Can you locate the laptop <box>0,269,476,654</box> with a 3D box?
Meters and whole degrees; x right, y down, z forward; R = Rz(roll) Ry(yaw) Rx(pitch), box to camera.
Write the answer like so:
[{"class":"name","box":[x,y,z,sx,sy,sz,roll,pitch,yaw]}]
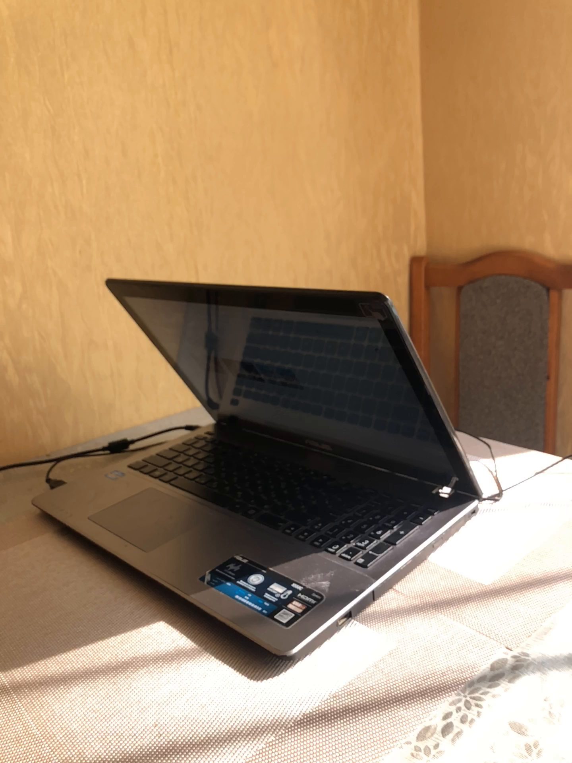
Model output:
[{"class":"laptop","box":[-0.057,0.018,0.583,0.370,0.196,0.243,11,23,44]}]
